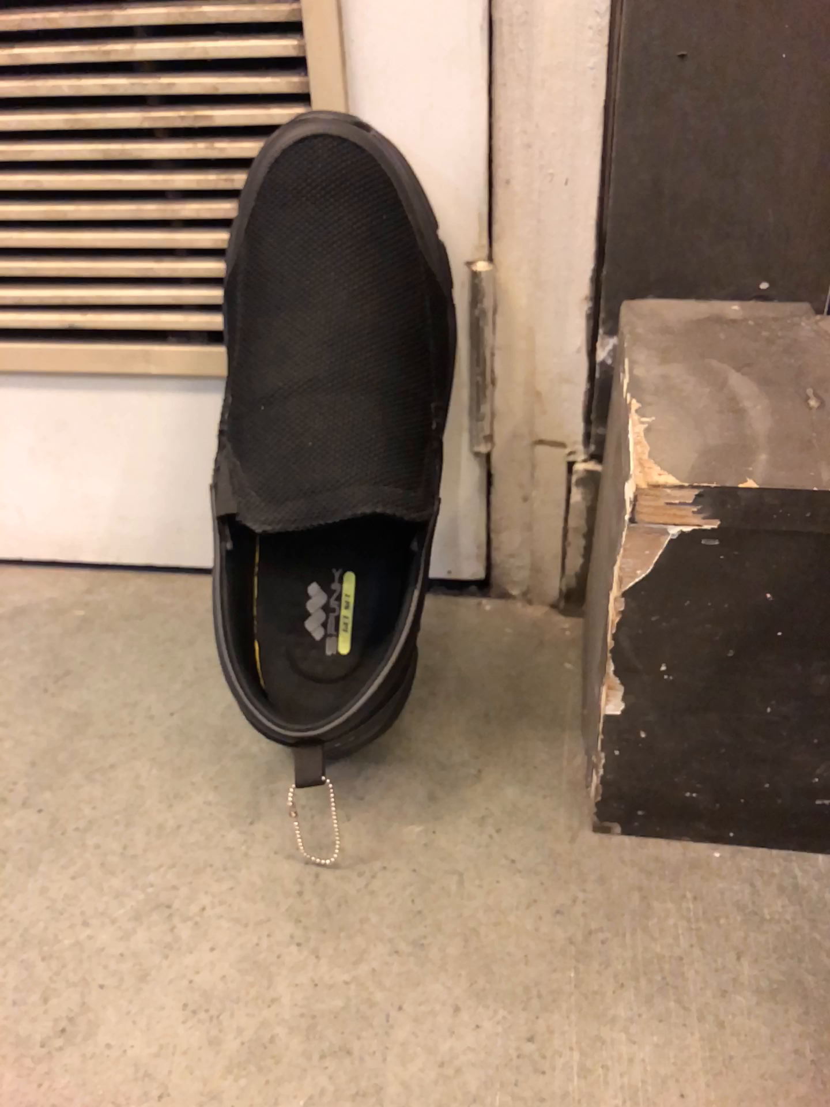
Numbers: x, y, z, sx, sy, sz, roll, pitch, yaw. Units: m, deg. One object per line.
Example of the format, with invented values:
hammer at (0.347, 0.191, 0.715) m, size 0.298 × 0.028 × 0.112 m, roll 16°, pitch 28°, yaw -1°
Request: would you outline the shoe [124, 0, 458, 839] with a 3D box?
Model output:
shoe at (-0.040, -0.048, 0.392) m, size 0.111 × 0.292 × 0.127 m, roll 0°, pitch 4°, yaw 5°
